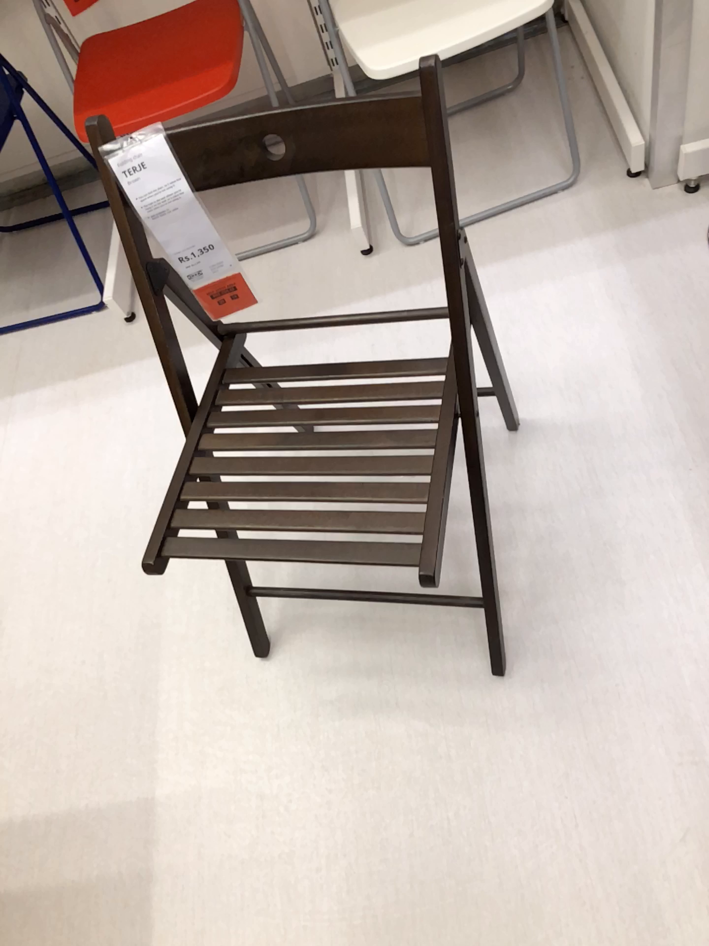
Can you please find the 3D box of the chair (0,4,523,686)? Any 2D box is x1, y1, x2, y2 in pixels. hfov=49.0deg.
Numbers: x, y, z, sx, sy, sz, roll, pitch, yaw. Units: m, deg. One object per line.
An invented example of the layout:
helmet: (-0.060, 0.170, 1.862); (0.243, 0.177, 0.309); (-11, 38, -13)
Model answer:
chair: (-0.048, -0.074, 1.079); (0.461, 0.776, 0.502); (-1, 60, 18)
